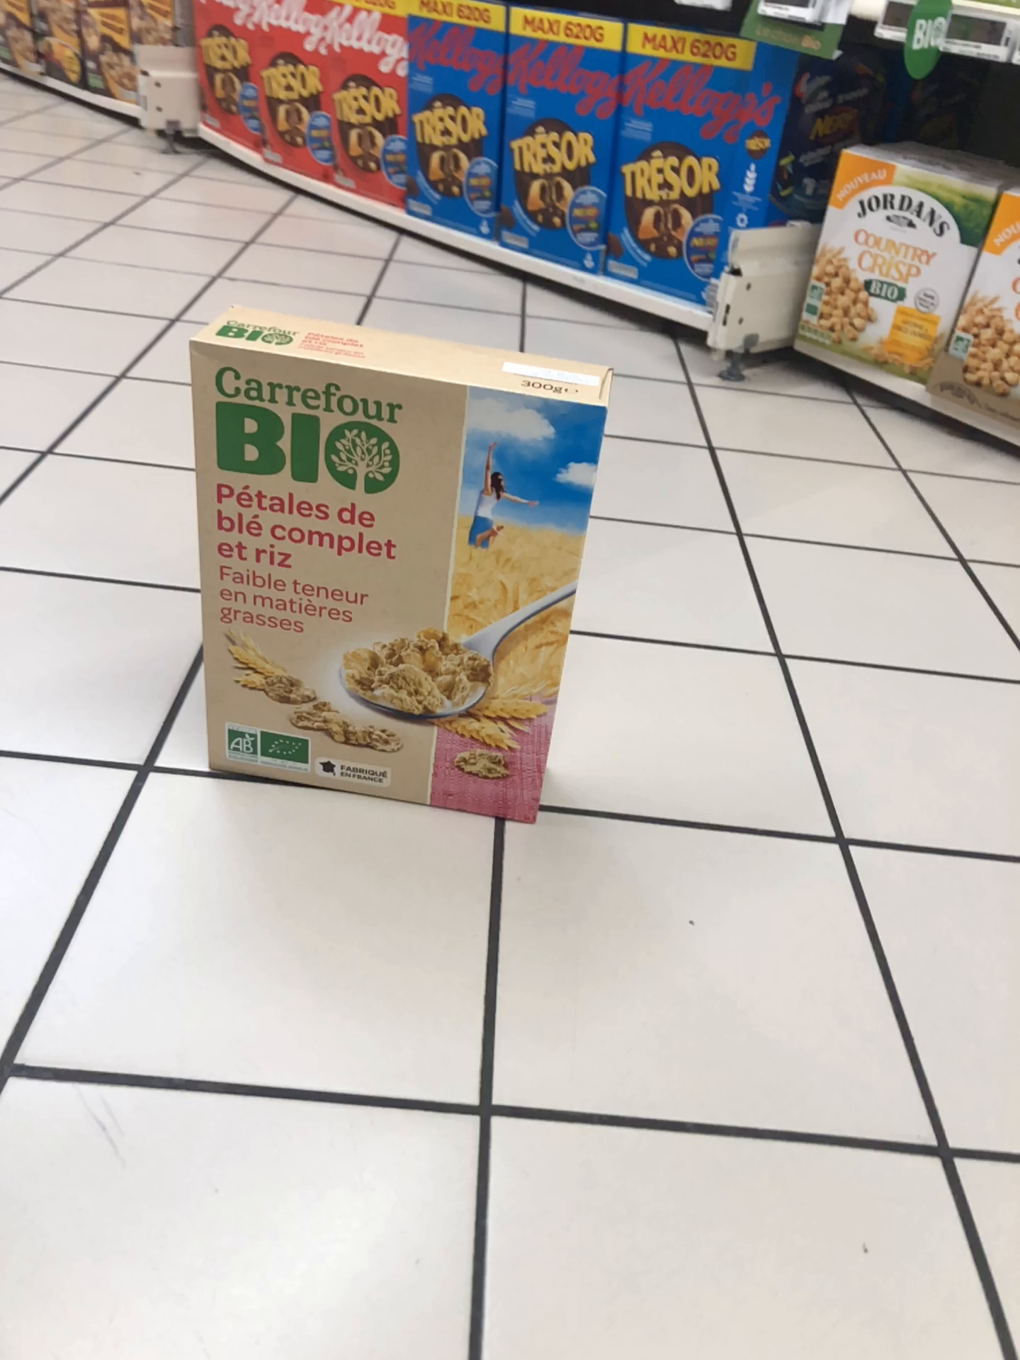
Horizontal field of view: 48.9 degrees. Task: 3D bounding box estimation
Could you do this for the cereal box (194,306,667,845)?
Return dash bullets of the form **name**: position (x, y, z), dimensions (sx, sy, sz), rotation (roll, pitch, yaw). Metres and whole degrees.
- **cereal box**: position (-0.046, -0.049, 0.590), dimensions (0.210, 0.239, 0.081), rotation (10, 32, 3)
